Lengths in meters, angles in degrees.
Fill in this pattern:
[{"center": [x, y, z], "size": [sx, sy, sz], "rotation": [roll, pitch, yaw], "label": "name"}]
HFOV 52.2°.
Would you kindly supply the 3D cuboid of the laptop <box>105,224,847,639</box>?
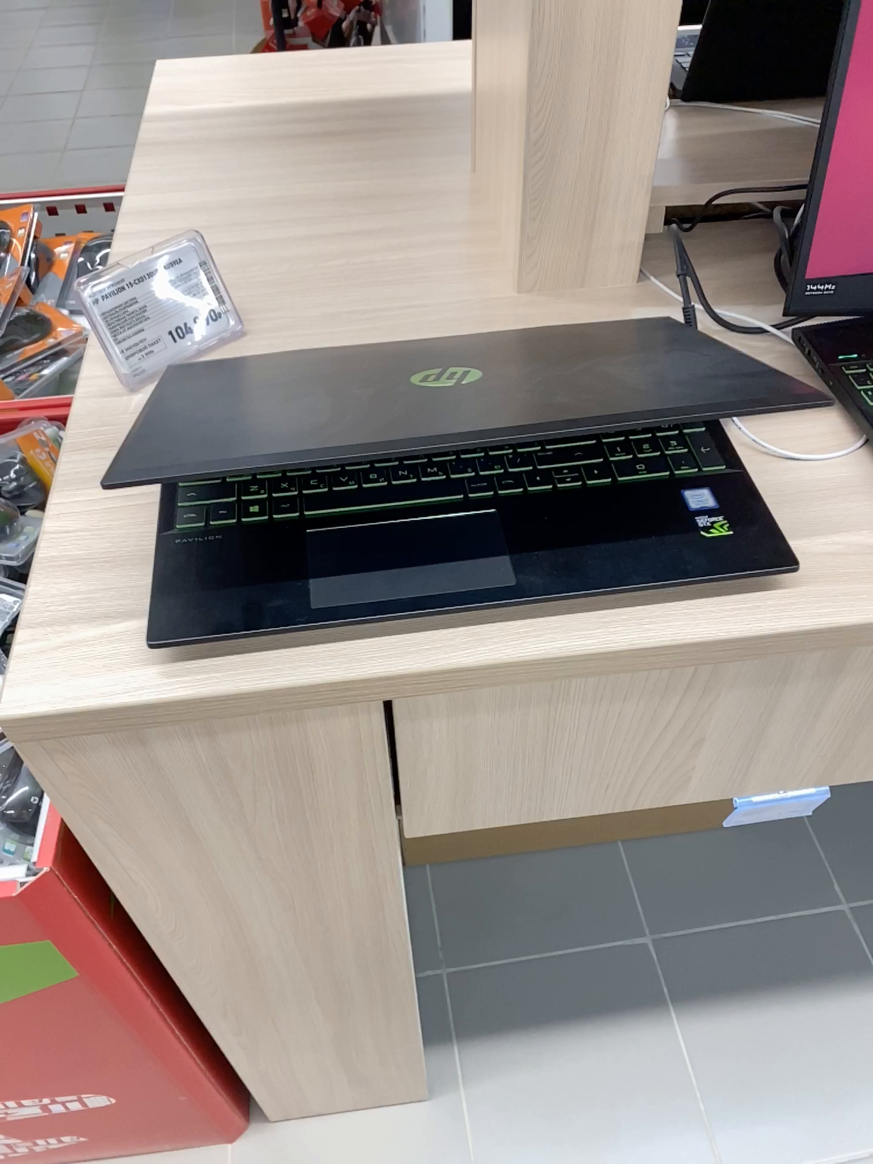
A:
[{"center": [0.010, -0.106, 0.544], "size": [0.365, 0.086, 0.242], "rotation": [-6, 48, -5], "label": "laptop"}]
